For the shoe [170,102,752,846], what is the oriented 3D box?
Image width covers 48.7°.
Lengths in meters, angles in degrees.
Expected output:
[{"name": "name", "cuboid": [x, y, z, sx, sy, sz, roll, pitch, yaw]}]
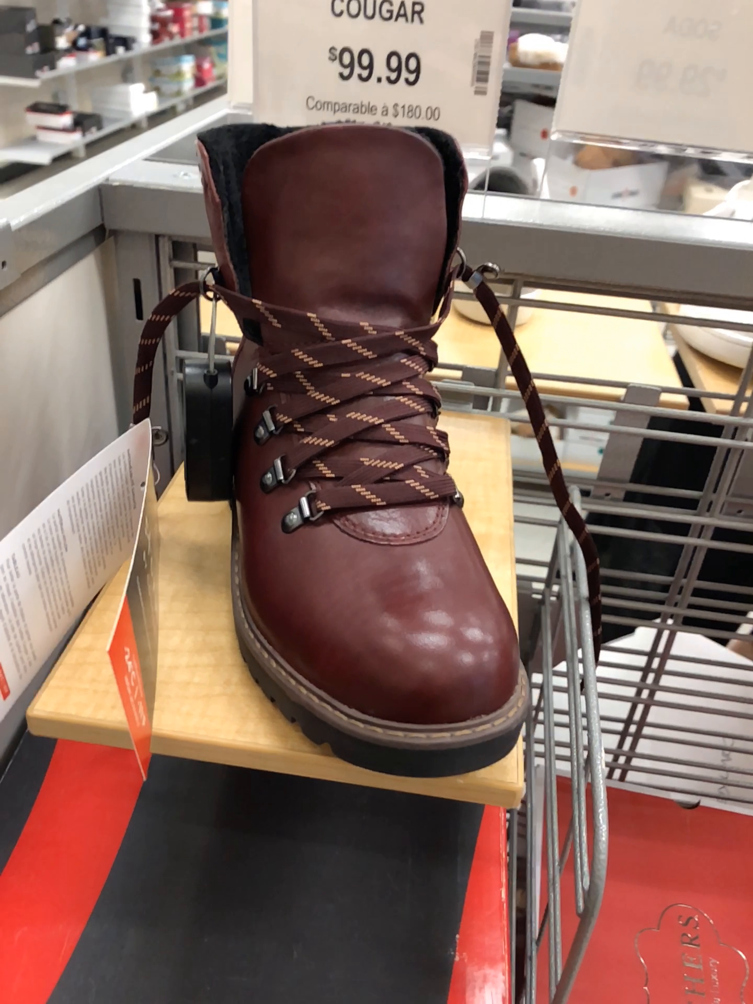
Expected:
[{"name": "shoe", "cuboid": [-0.004, -0.036, 0.312, 0.107, 0.169, 0.232, -6, 35, -18]}]
